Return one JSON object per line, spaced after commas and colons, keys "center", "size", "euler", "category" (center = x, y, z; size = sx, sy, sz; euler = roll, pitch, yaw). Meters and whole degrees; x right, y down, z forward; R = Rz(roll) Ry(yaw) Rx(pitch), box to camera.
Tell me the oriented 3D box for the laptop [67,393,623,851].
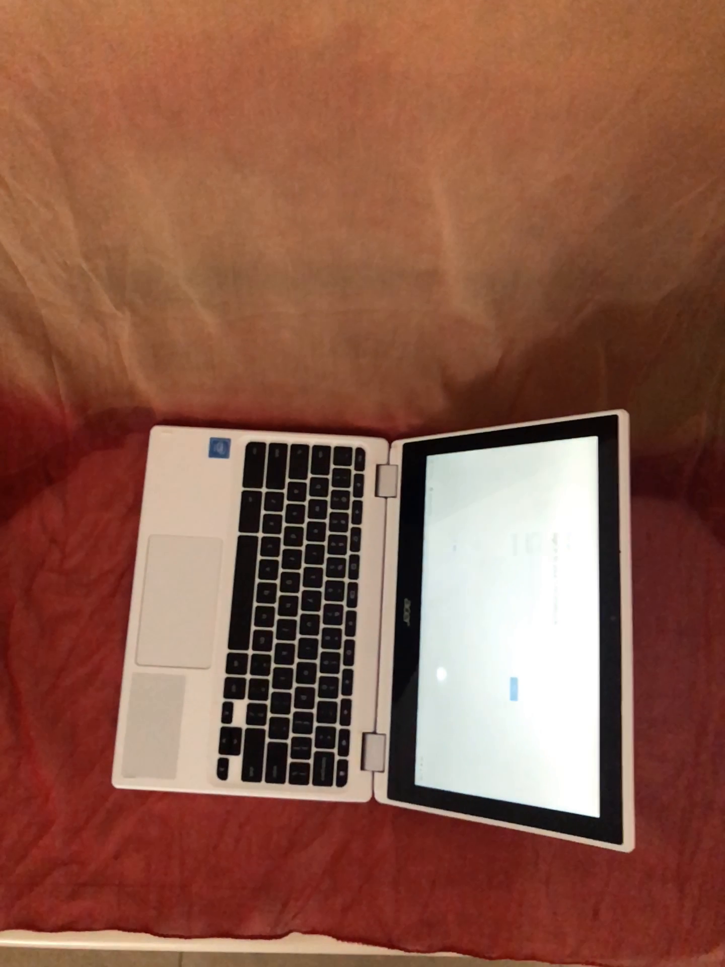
{"center": [-0.005, 0.092, 0.568], "size": [0.337, 0.113, 0.263], "euler": [4, 78, 1], "category": "laptop"}
